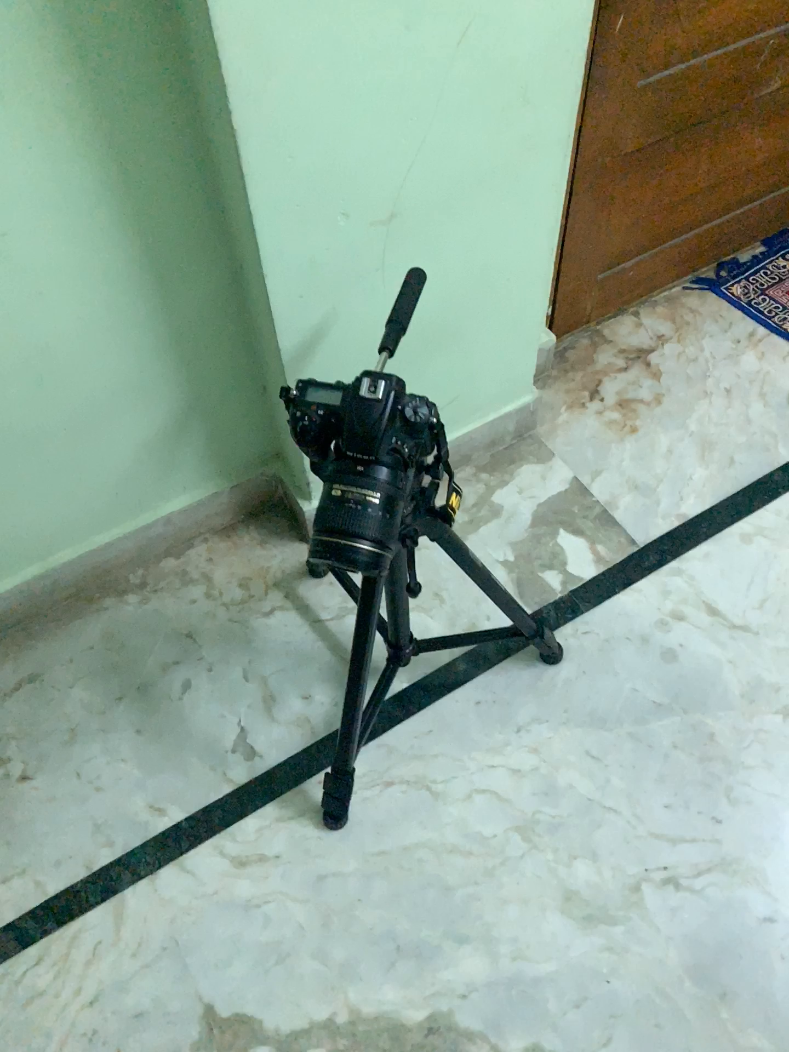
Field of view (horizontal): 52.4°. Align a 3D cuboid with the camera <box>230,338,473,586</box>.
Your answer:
[{"bbox_3d":[-0.032,-0.057,0.752,0.170,0.110,0.180,12,81,11],"label":"camera"}]
